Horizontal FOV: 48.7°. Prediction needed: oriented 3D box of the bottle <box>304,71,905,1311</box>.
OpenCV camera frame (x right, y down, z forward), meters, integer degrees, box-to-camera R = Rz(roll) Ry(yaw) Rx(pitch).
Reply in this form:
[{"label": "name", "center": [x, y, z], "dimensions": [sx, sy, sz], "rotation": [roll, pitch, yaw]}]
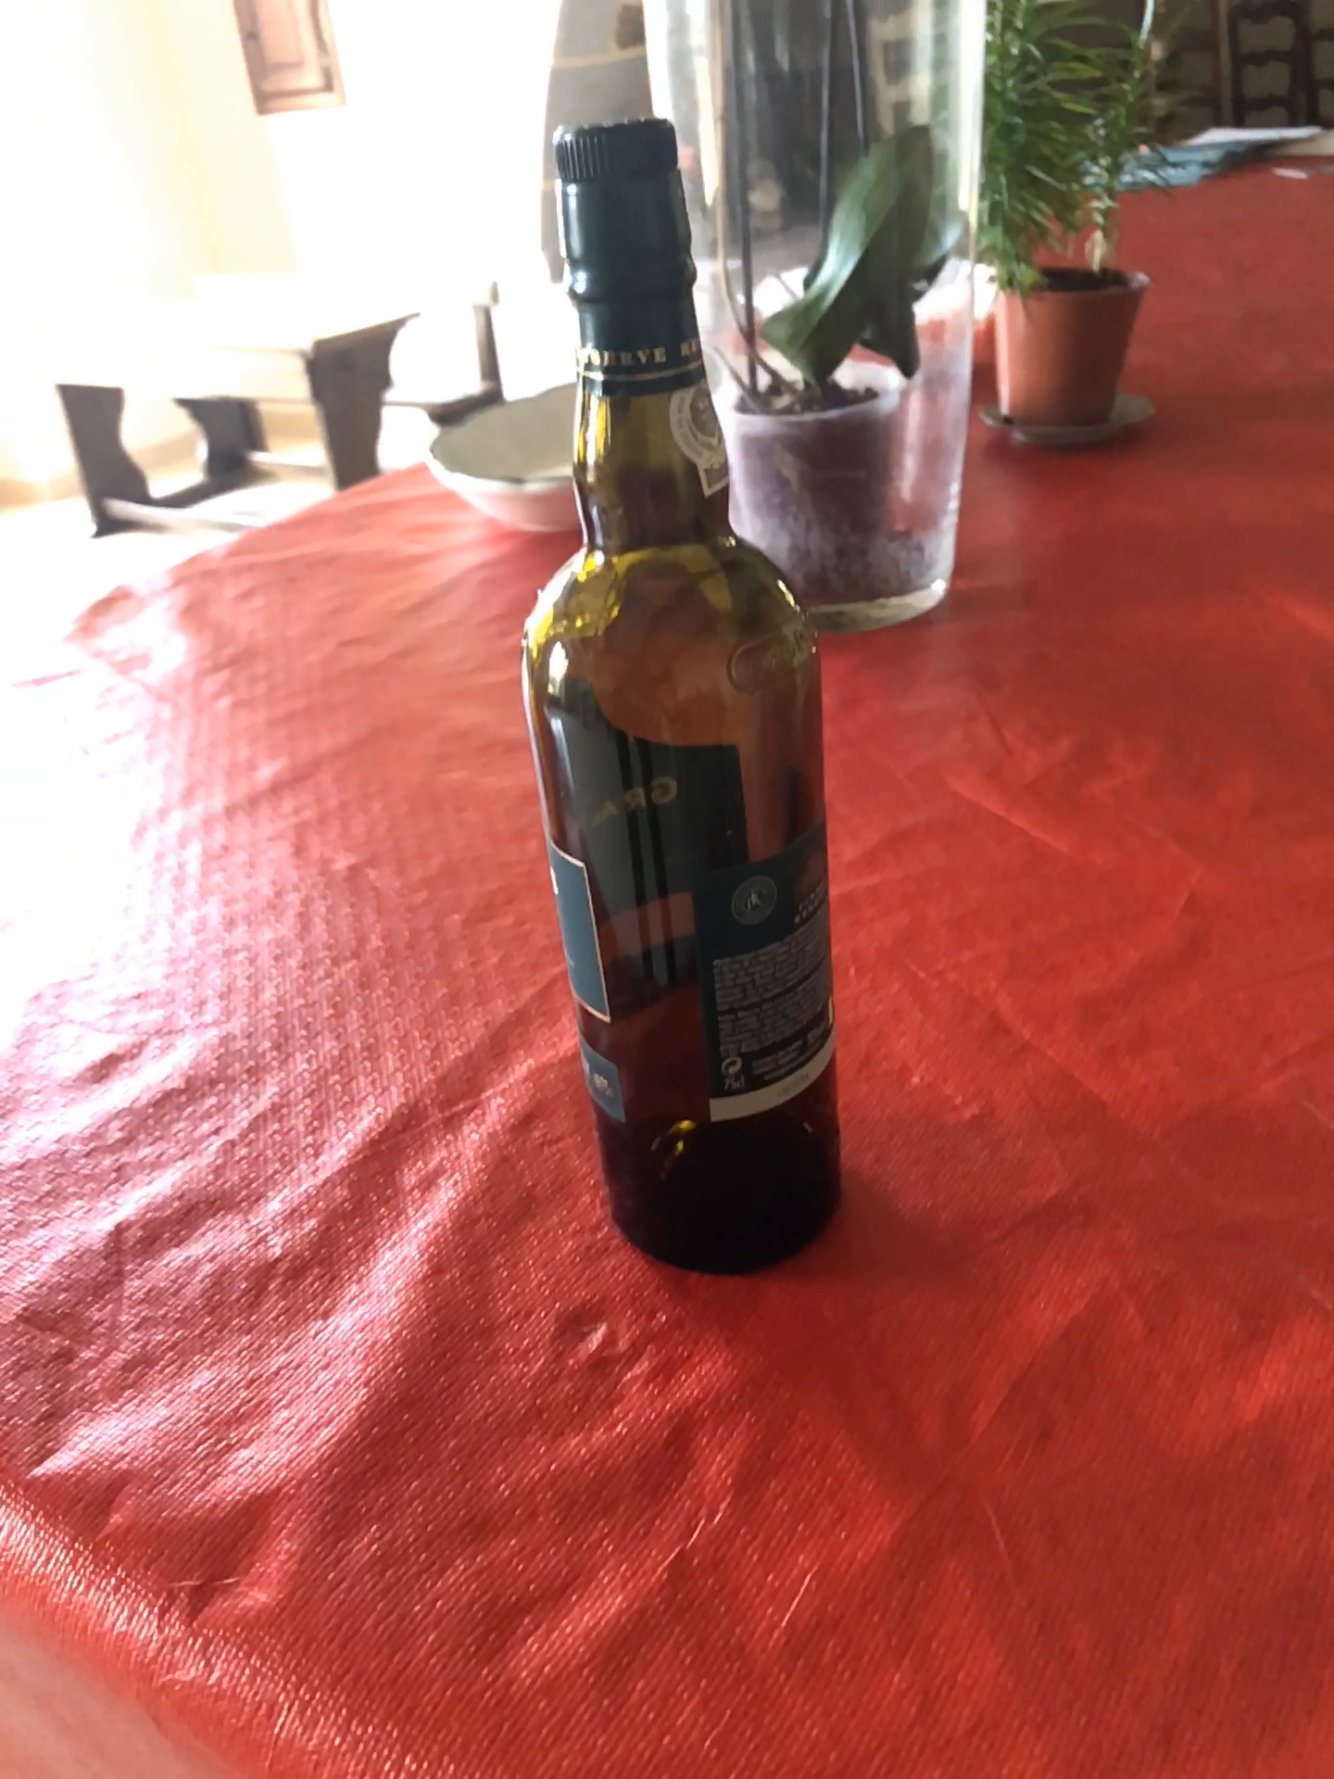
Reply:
[{"label": "bottle", "center": [0.000, -0.041, 0.393], "dimensions": [0.090, 0.298, 0.091], "rotation": [-5, 30, 3]}]
